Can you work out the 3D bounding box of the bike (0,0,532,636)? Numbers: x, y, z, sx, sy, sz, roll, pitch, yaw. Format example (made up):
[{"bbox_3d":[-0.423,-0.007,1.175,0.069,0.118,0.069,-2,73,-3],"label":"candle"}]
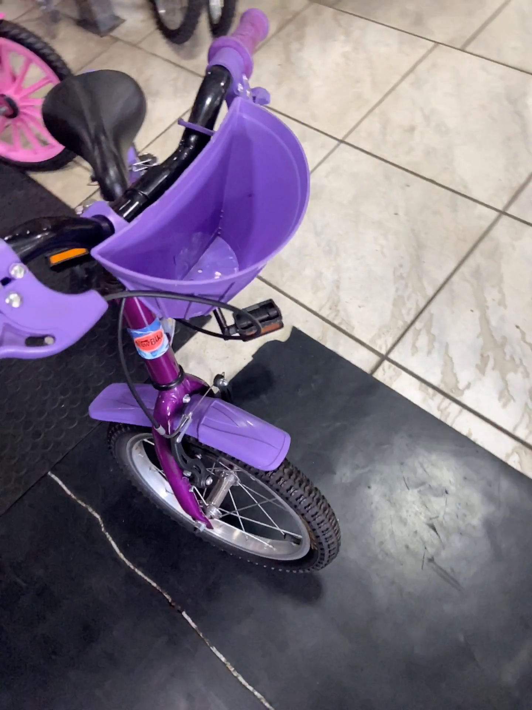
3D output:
[{"bbox_3d":[-0.170,-0.198,0.815,0.447,0.744,0.973,-27,60,-5],"label":"bike"}]
